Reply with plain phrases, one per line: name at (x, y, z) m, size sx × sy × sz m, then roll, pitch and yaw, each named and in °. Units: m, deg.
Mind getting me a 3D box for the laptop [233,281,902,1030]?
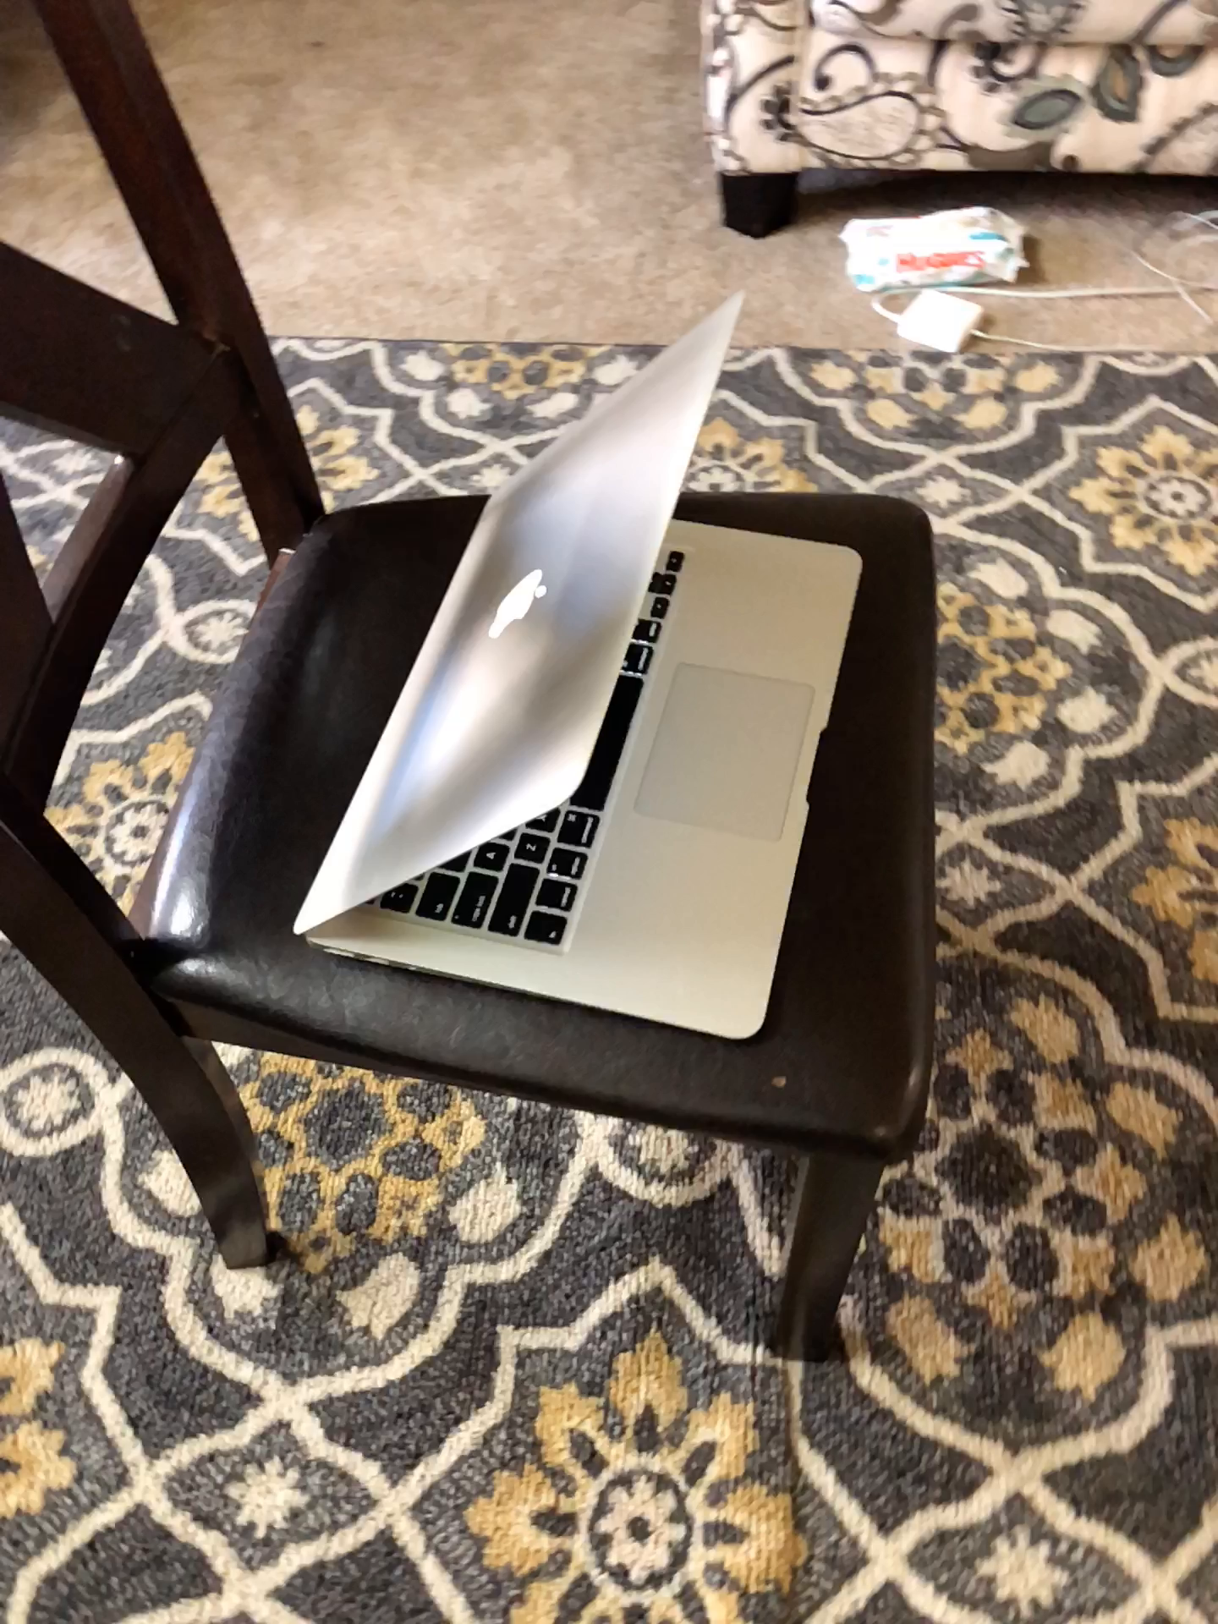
laptop at (0.002, -0.088, 0.638) m, size 0.215 × 0.154 × 0.304 m, roll 10°, pitch 54°, yaw 11°
